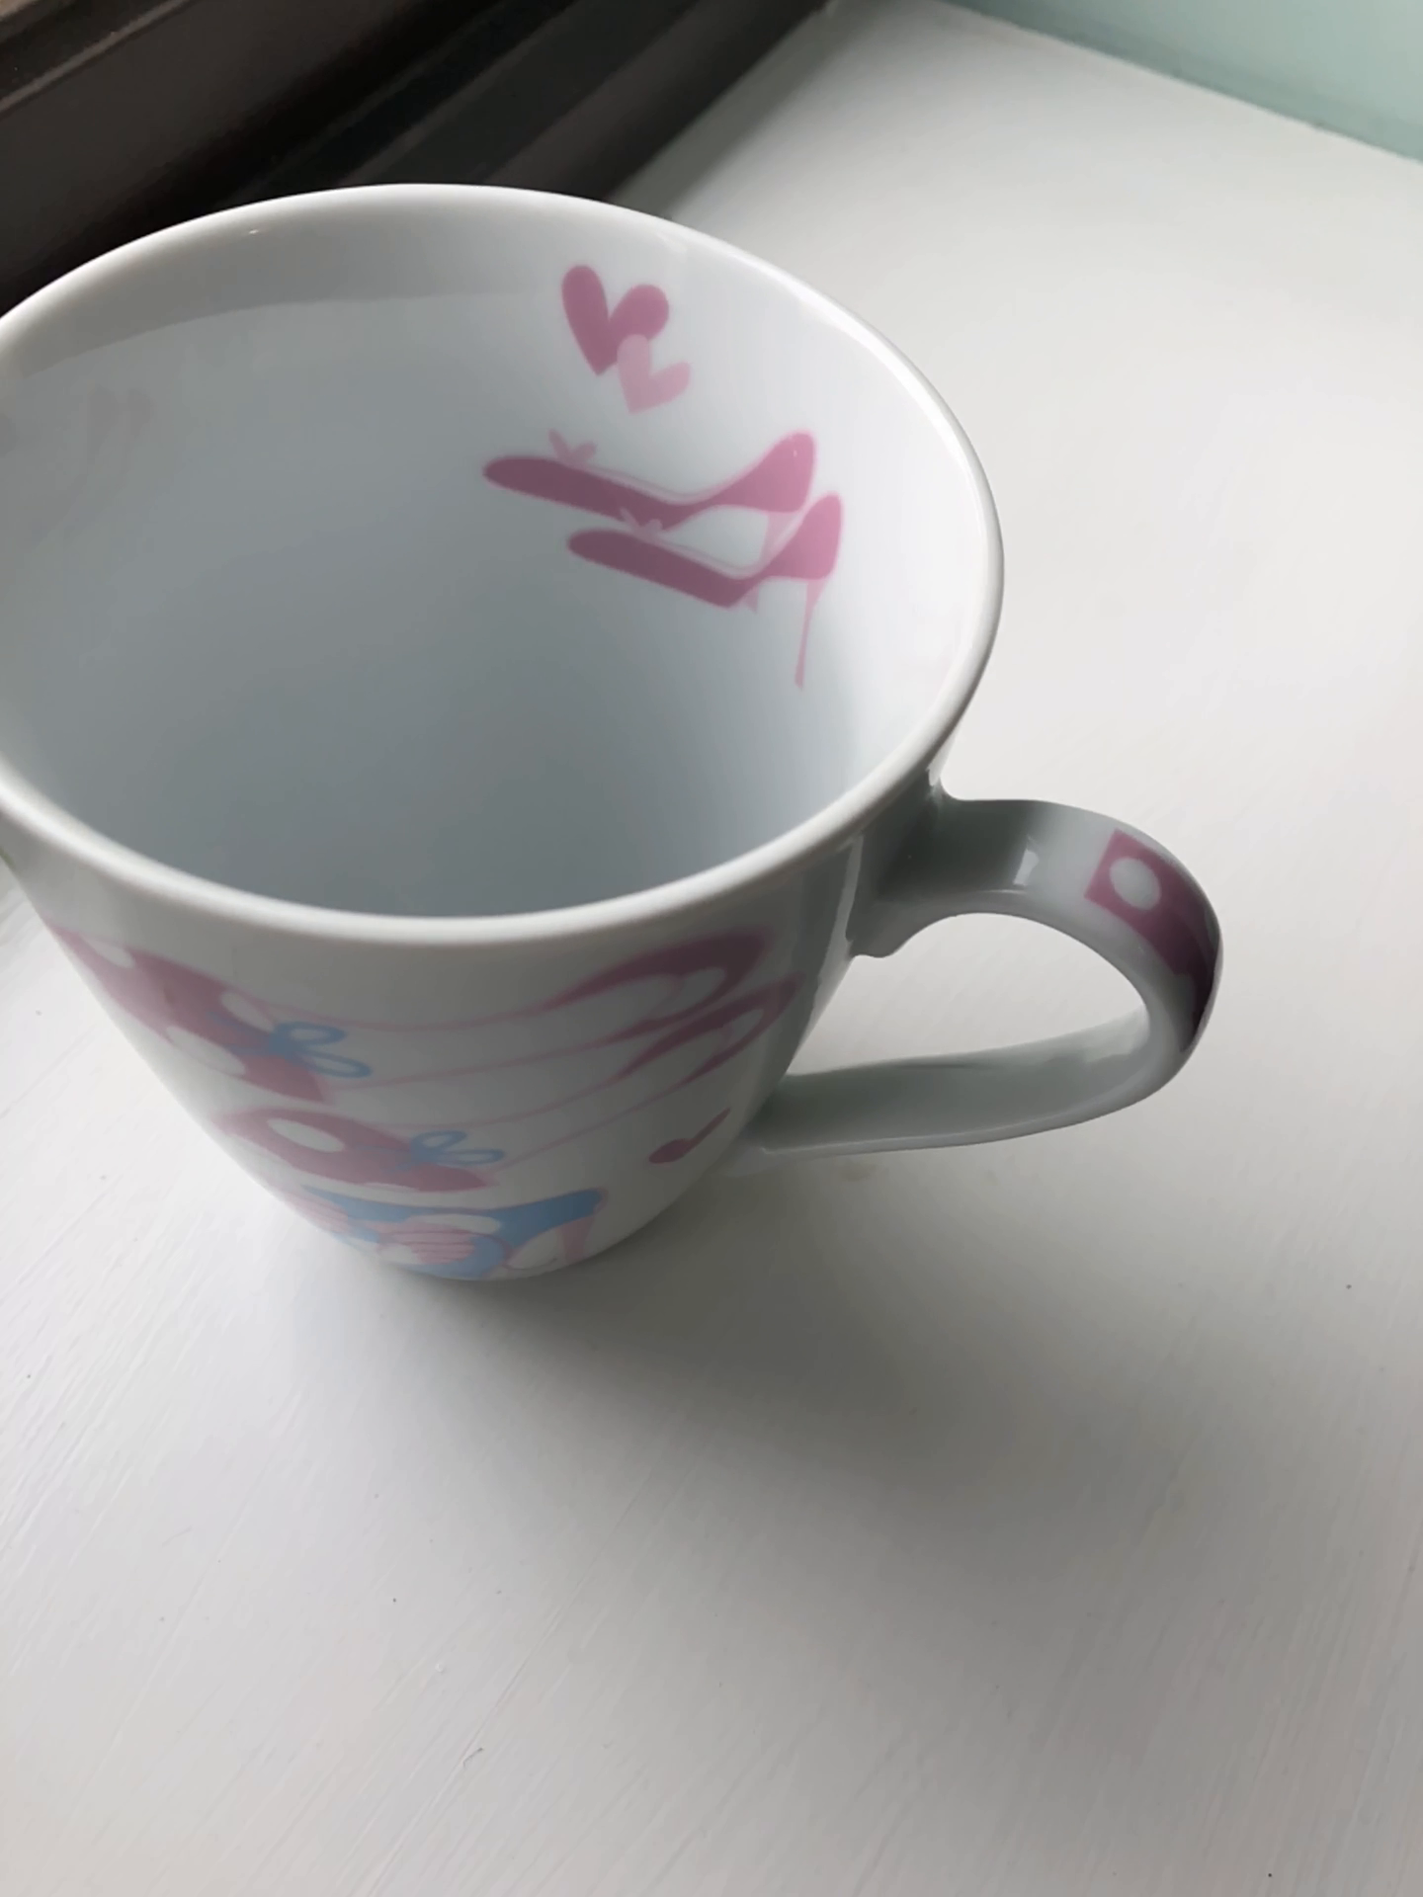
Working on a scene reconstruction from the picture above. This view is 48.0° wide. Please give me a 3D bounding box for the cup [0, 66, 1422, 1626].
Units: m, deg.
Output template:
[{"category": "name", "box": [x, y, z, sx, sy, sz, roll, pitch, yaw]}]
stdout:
[{"category": "cup", "box": [-0.013, -0.015, 0.184, 0.140, 0.089, 0.111, 20, 55, 9]}]
